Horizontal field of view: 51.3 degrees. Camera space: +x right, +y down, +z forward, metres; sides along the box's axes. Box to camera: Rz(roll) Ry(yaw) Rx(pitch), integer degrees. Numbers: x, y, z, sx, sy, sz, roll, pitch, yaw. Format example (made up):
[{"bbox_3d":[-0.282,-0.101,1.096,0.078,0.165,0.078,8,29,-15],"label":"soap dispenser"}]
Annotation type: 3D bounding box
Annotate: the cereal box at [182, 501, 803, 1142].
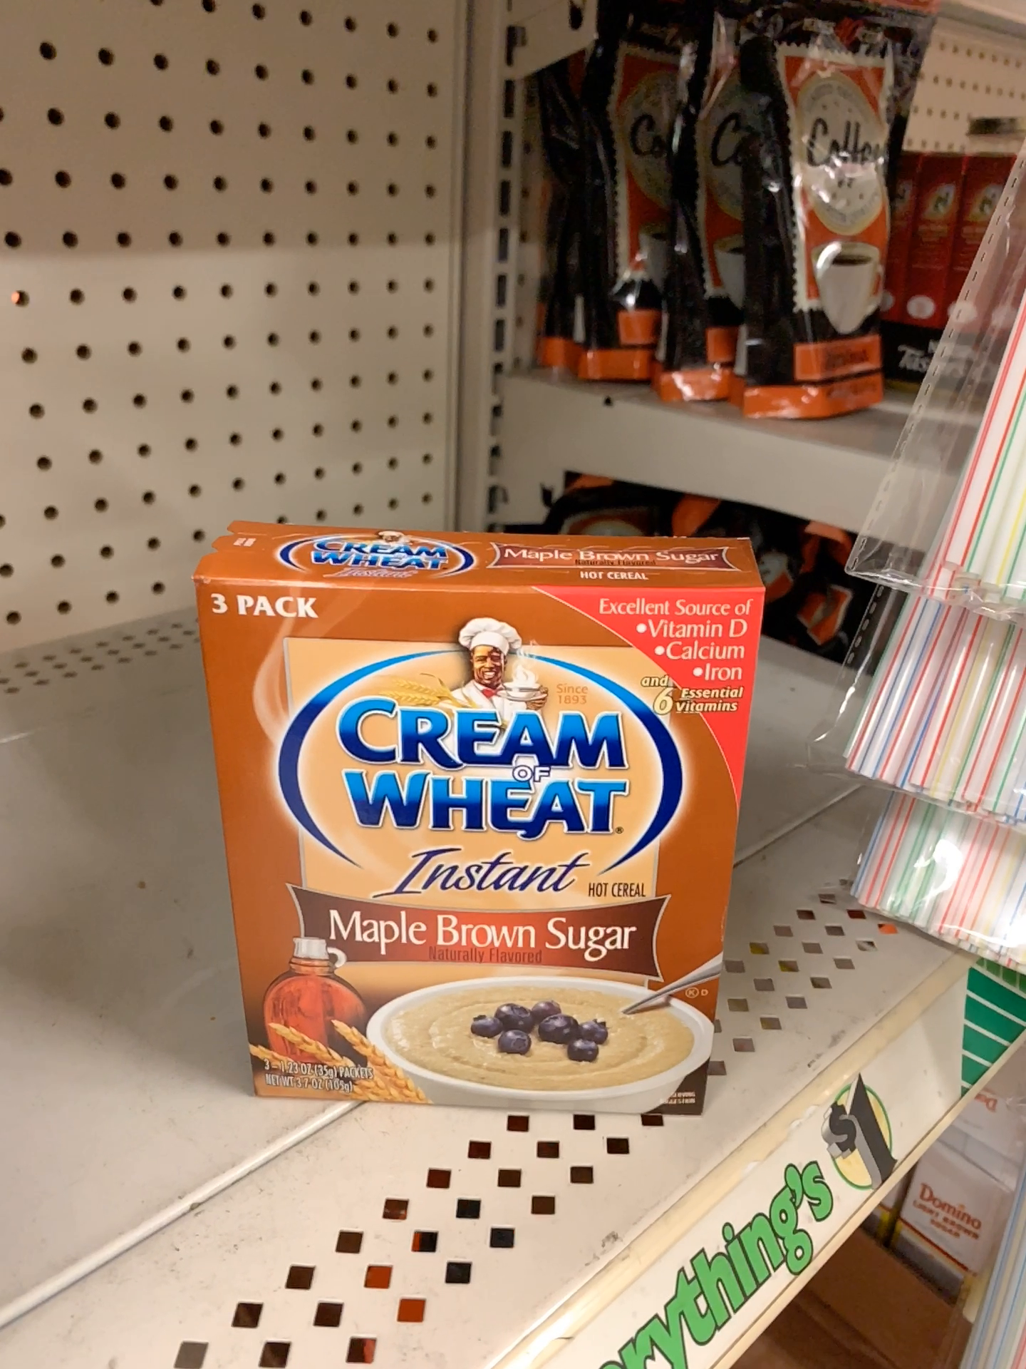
[{"bbox_3d":[-0.006,0.037,0.256,0.120,0.149,0.040,2,25,0],"label":"cereal box"}]
